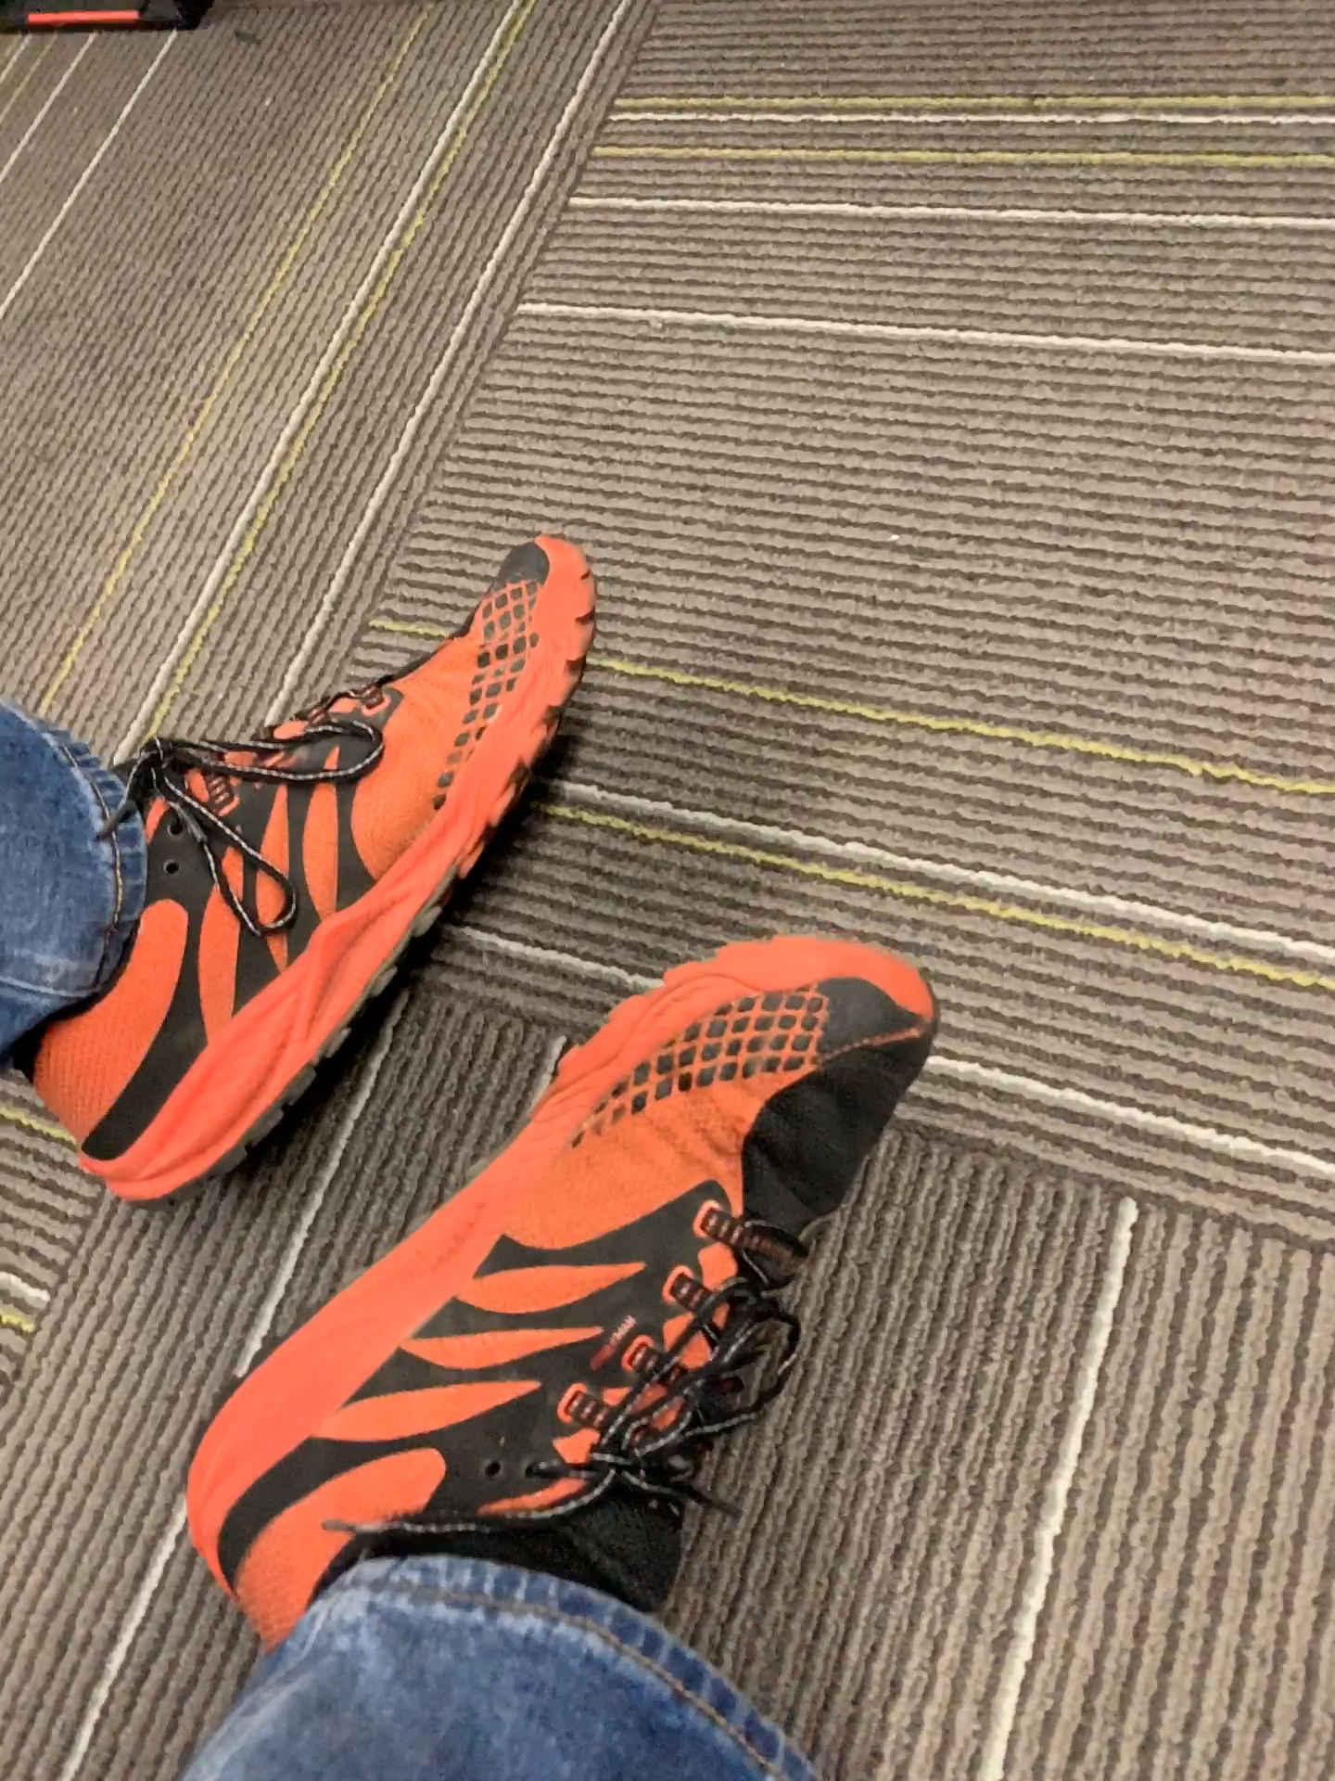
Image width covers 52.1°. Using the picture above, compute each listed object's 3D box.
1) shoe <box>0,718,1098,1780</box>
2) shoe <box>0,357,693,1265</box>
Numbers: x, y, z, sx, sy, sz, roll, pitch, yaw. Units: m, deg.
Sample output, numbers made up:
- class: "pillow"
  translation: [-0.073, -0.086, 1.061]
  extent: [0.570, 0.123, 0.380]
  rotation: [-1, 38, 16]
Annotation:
- class: "shoe"
  translation: [-0.034, 0.118, 0.428]
  extent: [0.317, 0.138, 0.109]
  rotation: [-43, 45, -3]
- class: "shoe"
  translation: [-0.145, -0.033, 0.520]
  extent: [0.108, 0.128, 0.307]
  rotation: [41, 82, -15]
